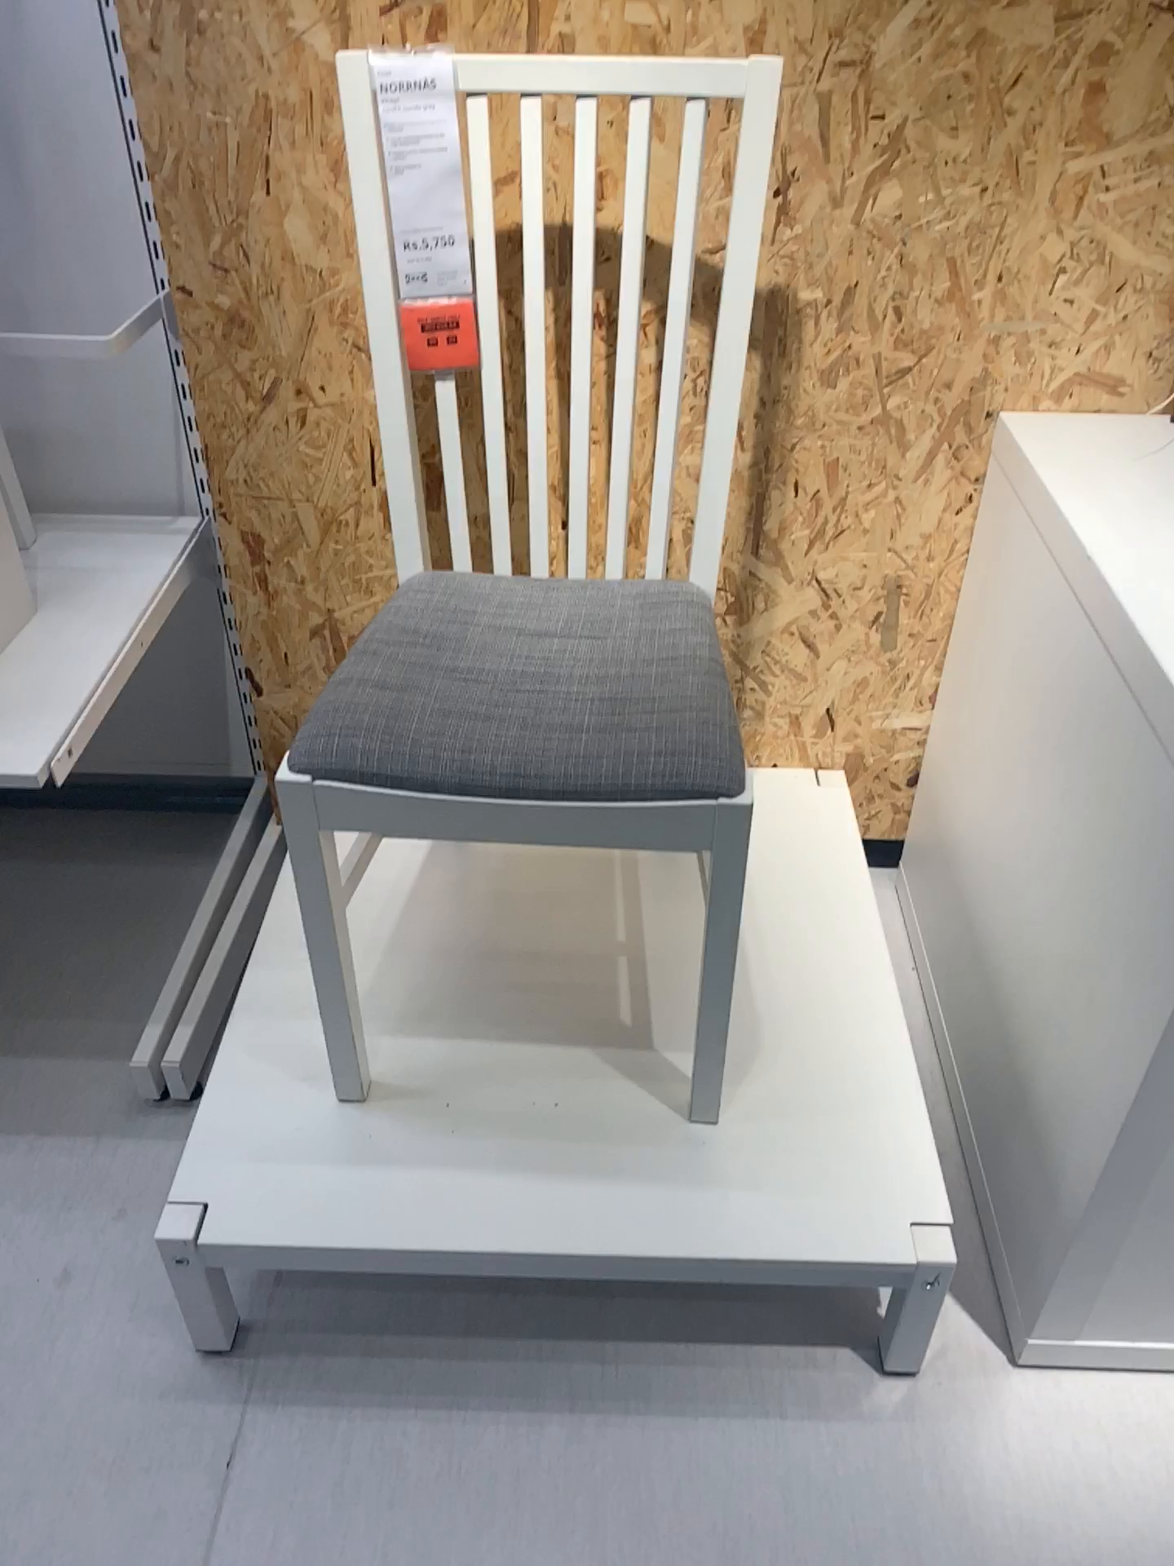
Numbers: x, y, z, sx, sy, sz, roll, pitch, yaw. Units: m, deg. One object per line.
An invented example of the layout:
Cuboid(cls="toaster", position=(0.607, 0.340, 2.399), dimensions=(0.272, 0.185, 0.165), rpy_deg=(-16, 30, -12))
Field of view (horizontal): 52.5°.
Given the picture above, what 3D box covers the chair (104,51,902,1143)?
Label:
Cuboid(cls="chair", position=(-0.034, -0.177, 1.204), dimensions=(0.470, 0.896, 0.592), rpy_deg=(3, 38, 3))
